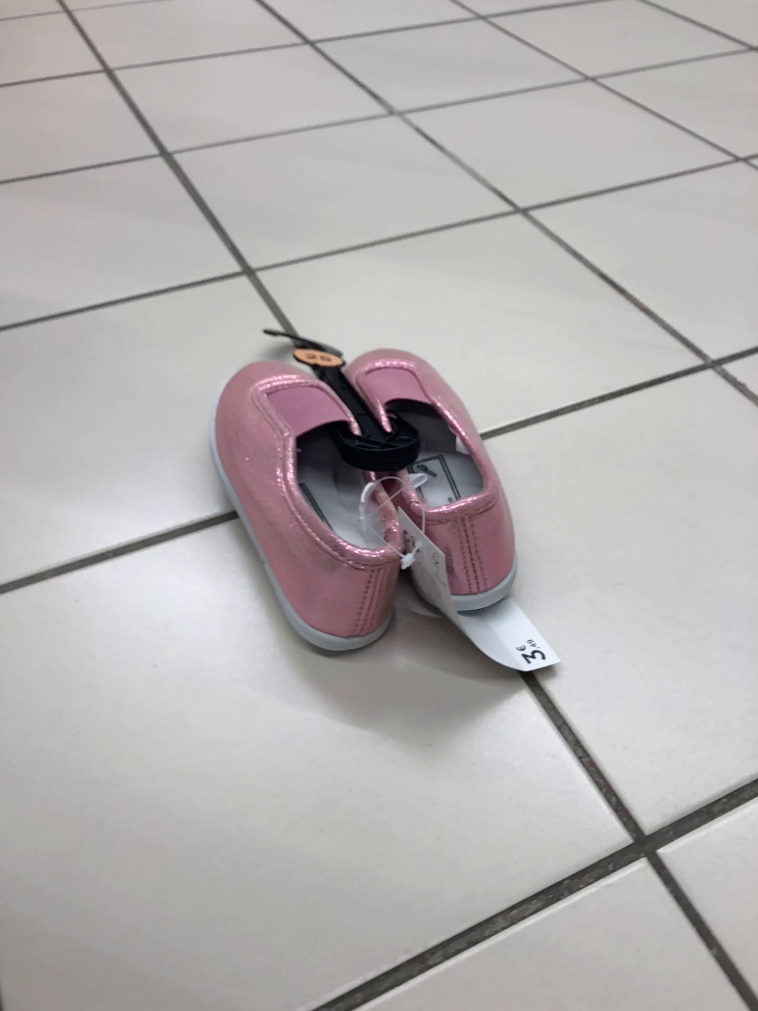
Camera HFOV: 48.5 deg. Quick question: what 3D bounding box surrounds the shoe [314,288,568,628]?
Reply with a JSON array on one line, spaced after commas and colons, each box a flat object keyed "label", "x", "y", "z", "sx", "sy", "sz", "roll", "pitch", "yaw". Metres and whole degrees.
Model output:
[{"label": "shoe", "x": 0.019, "y": -0.030, "z": 0.377, "sx": 0.059, "sy": 0.051, "sz": 0.162, "roll": -11, "pitch": 46, "yaw": -11}]

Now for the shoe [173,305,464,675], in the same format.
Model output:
[{"label": "shoe", "x": -0.033, "y": -0.017, "z": 0.363, "sx": 0.070, "sy": 0.050, "sz": 0.164, "roll": -16, "pitch": 47, "yaw": -16}]
